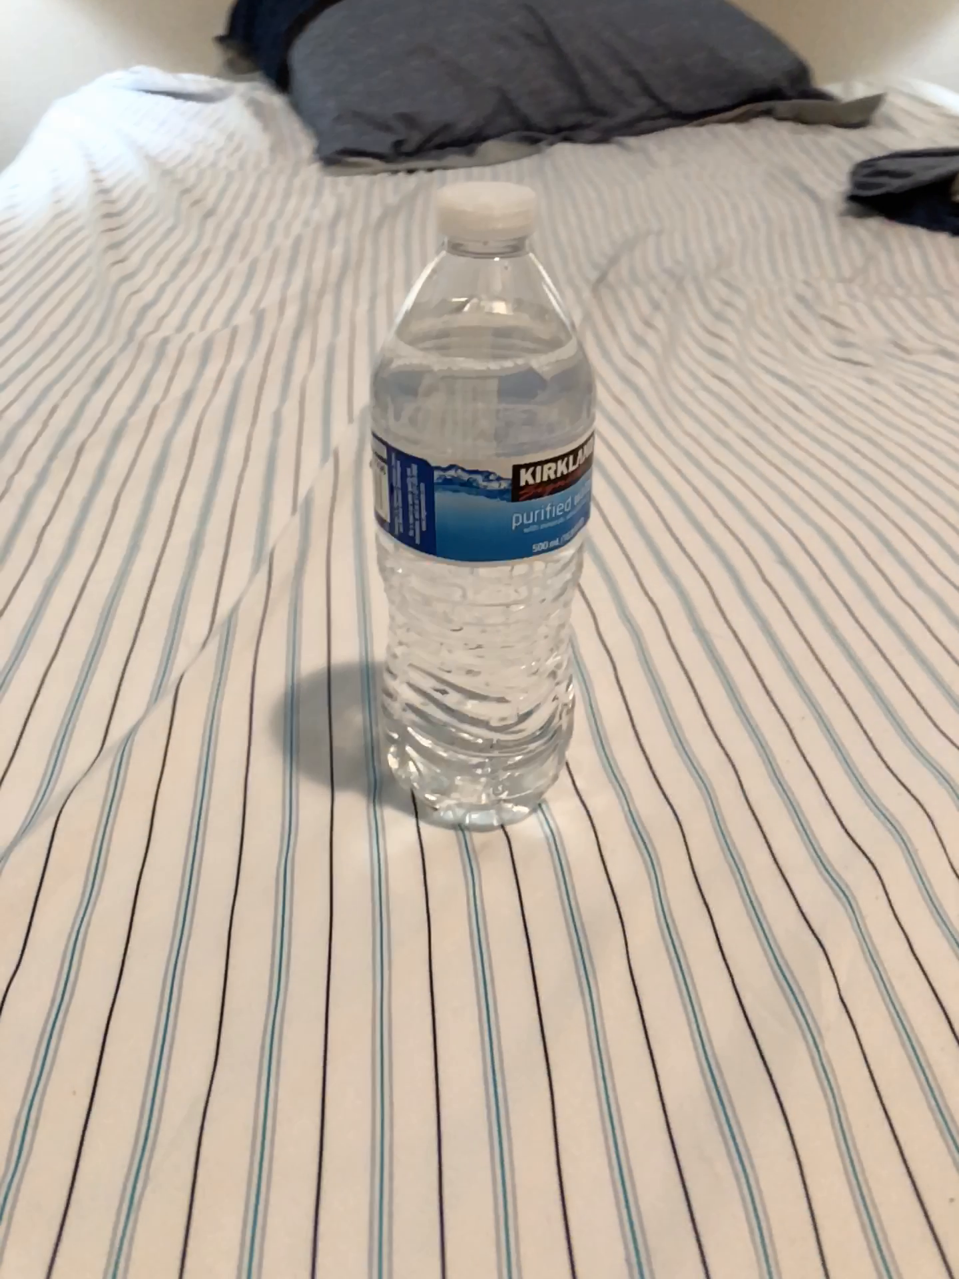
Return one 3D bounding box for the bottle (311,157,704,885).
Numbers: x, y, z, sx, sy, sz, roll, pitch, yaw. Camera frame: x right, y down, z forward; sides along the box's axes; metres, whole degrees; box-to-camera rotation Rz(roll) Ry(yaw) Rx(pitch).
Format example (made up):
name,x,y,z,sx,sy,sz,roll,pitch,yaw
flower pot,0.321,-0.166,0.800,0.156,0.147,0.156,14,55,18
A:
name,x,y,z,sx,sy,sz,roll,pitch,yaw
bottle,0.006,-0.030,0.328,0.070,0.199,0.070,1,36,0
